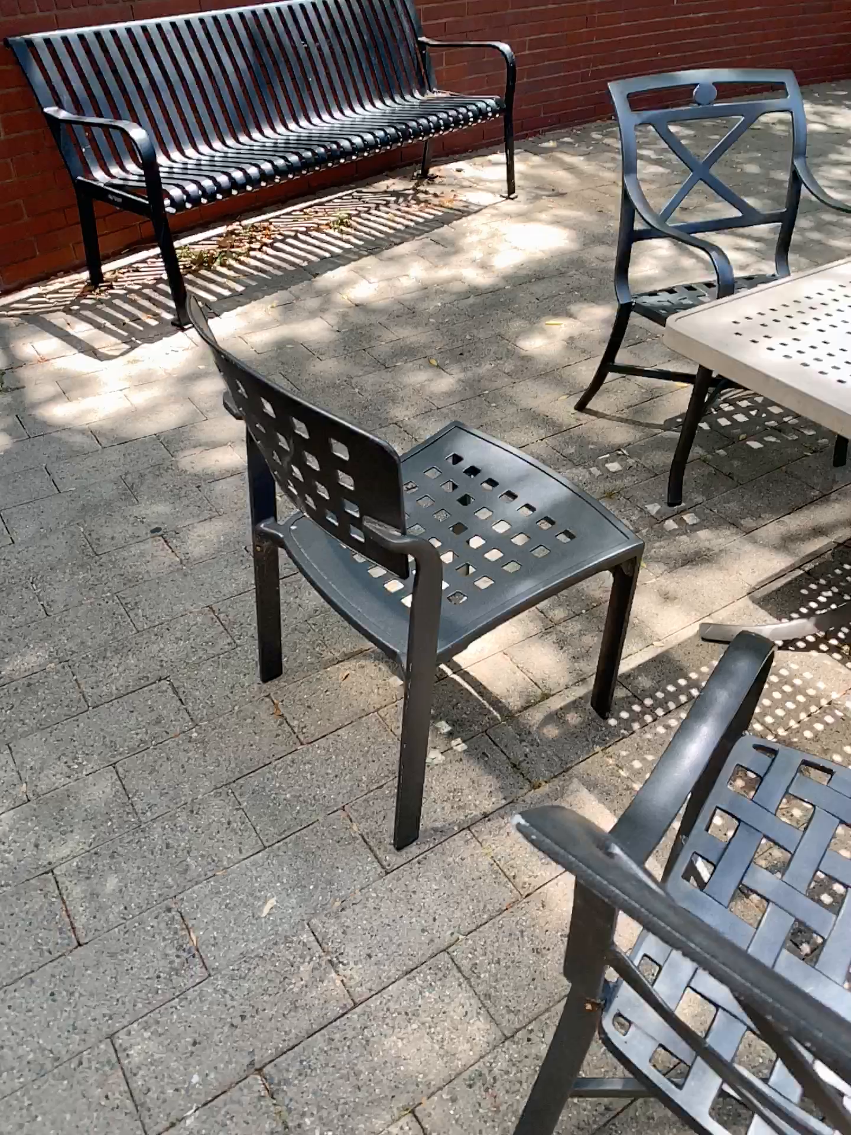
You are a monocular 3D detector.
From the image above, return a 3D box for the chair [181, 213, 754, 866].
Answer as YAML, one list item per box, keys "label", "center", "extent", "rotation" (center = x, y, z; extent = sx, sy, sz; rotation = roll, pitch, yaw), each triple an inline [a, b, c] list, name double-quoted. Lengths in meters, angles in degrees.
- label: "chair"
  center: [0.042, -0.064, 1.335]
  extent: [0.550, 0.716, 0.493]
  rotation: [-24, 45, -26]
